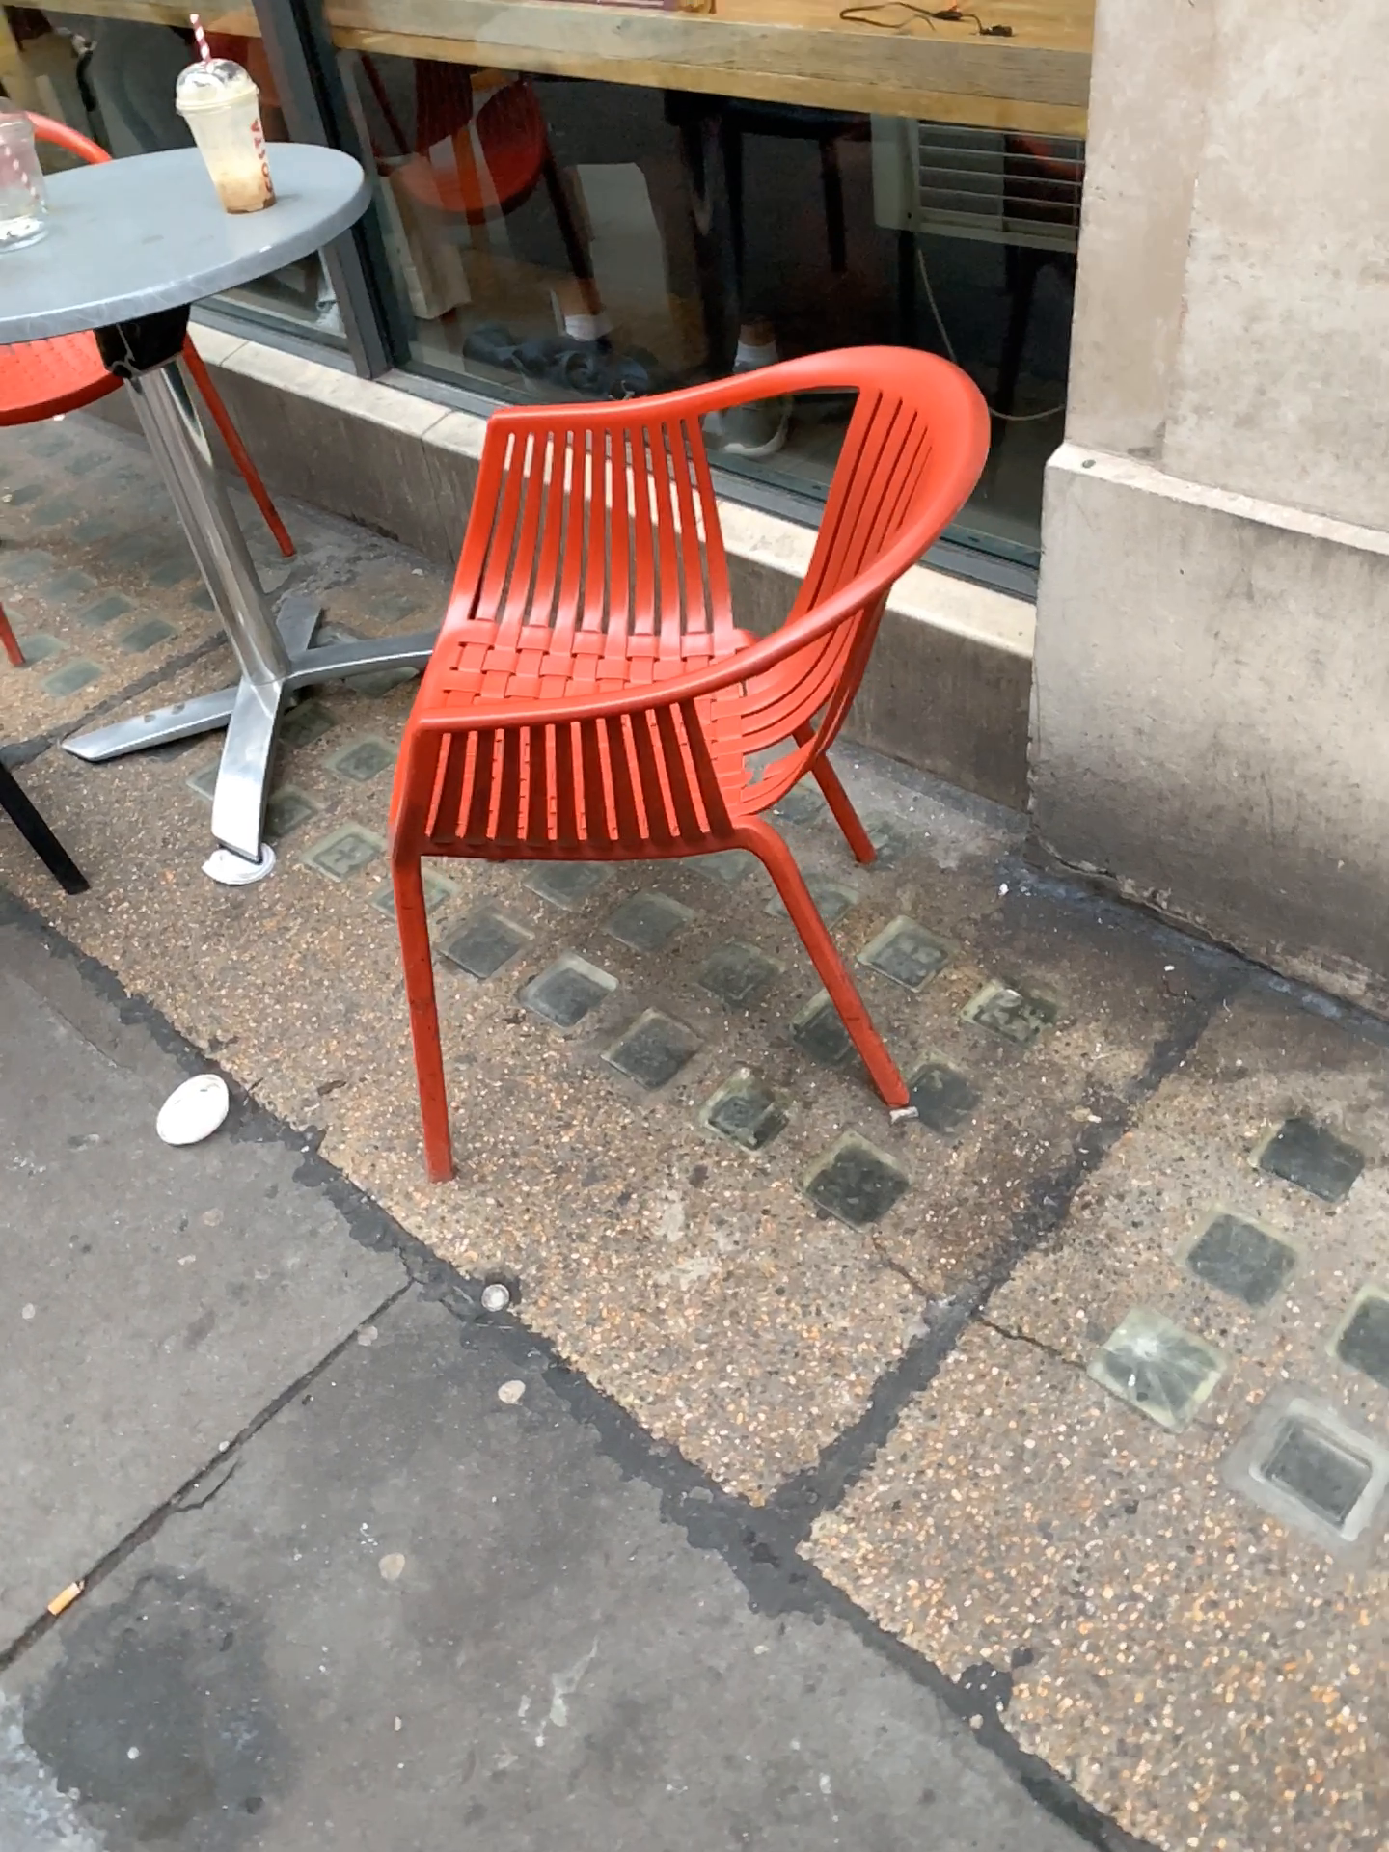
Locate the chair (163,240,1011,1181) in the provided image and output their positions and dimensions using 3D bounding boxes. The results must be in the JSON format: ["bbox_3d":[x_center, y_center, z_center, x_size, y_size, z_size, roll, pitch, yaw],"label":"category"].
[{"bbox_3d":[-0.046,-0.206,1.453,0.610,0.693,0.586,-5,43,4],"label":"chair"}]
